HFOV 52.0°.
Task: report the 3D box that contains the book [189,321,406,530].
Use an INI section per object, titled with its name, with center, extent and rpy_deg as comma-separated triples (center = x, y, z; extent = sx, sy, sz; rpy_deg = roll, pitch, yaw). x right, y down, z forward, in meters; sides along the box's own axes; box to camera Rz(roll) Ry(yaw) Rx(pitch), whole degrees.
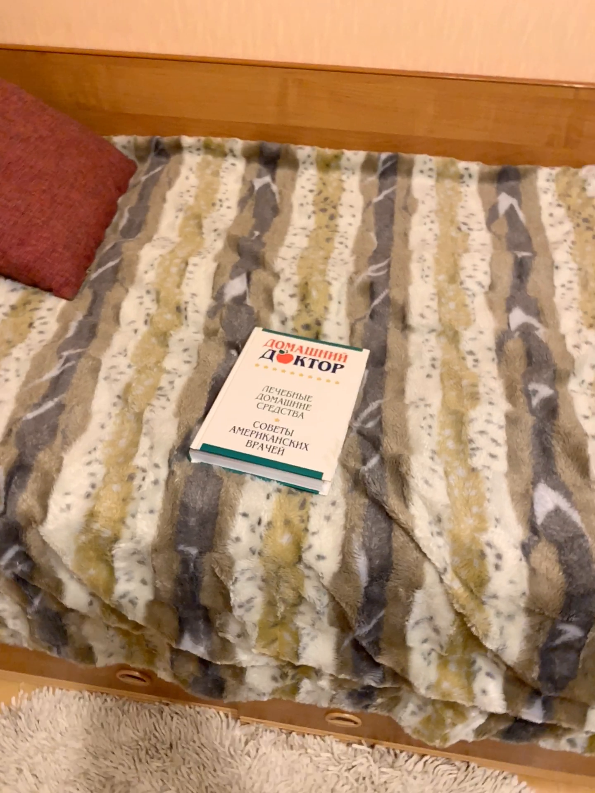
[book]
center = 0.011, 0.020, 0.714
extent = 0.190, 0.040, 0.242
rpy_deg = 12, 48, 10
